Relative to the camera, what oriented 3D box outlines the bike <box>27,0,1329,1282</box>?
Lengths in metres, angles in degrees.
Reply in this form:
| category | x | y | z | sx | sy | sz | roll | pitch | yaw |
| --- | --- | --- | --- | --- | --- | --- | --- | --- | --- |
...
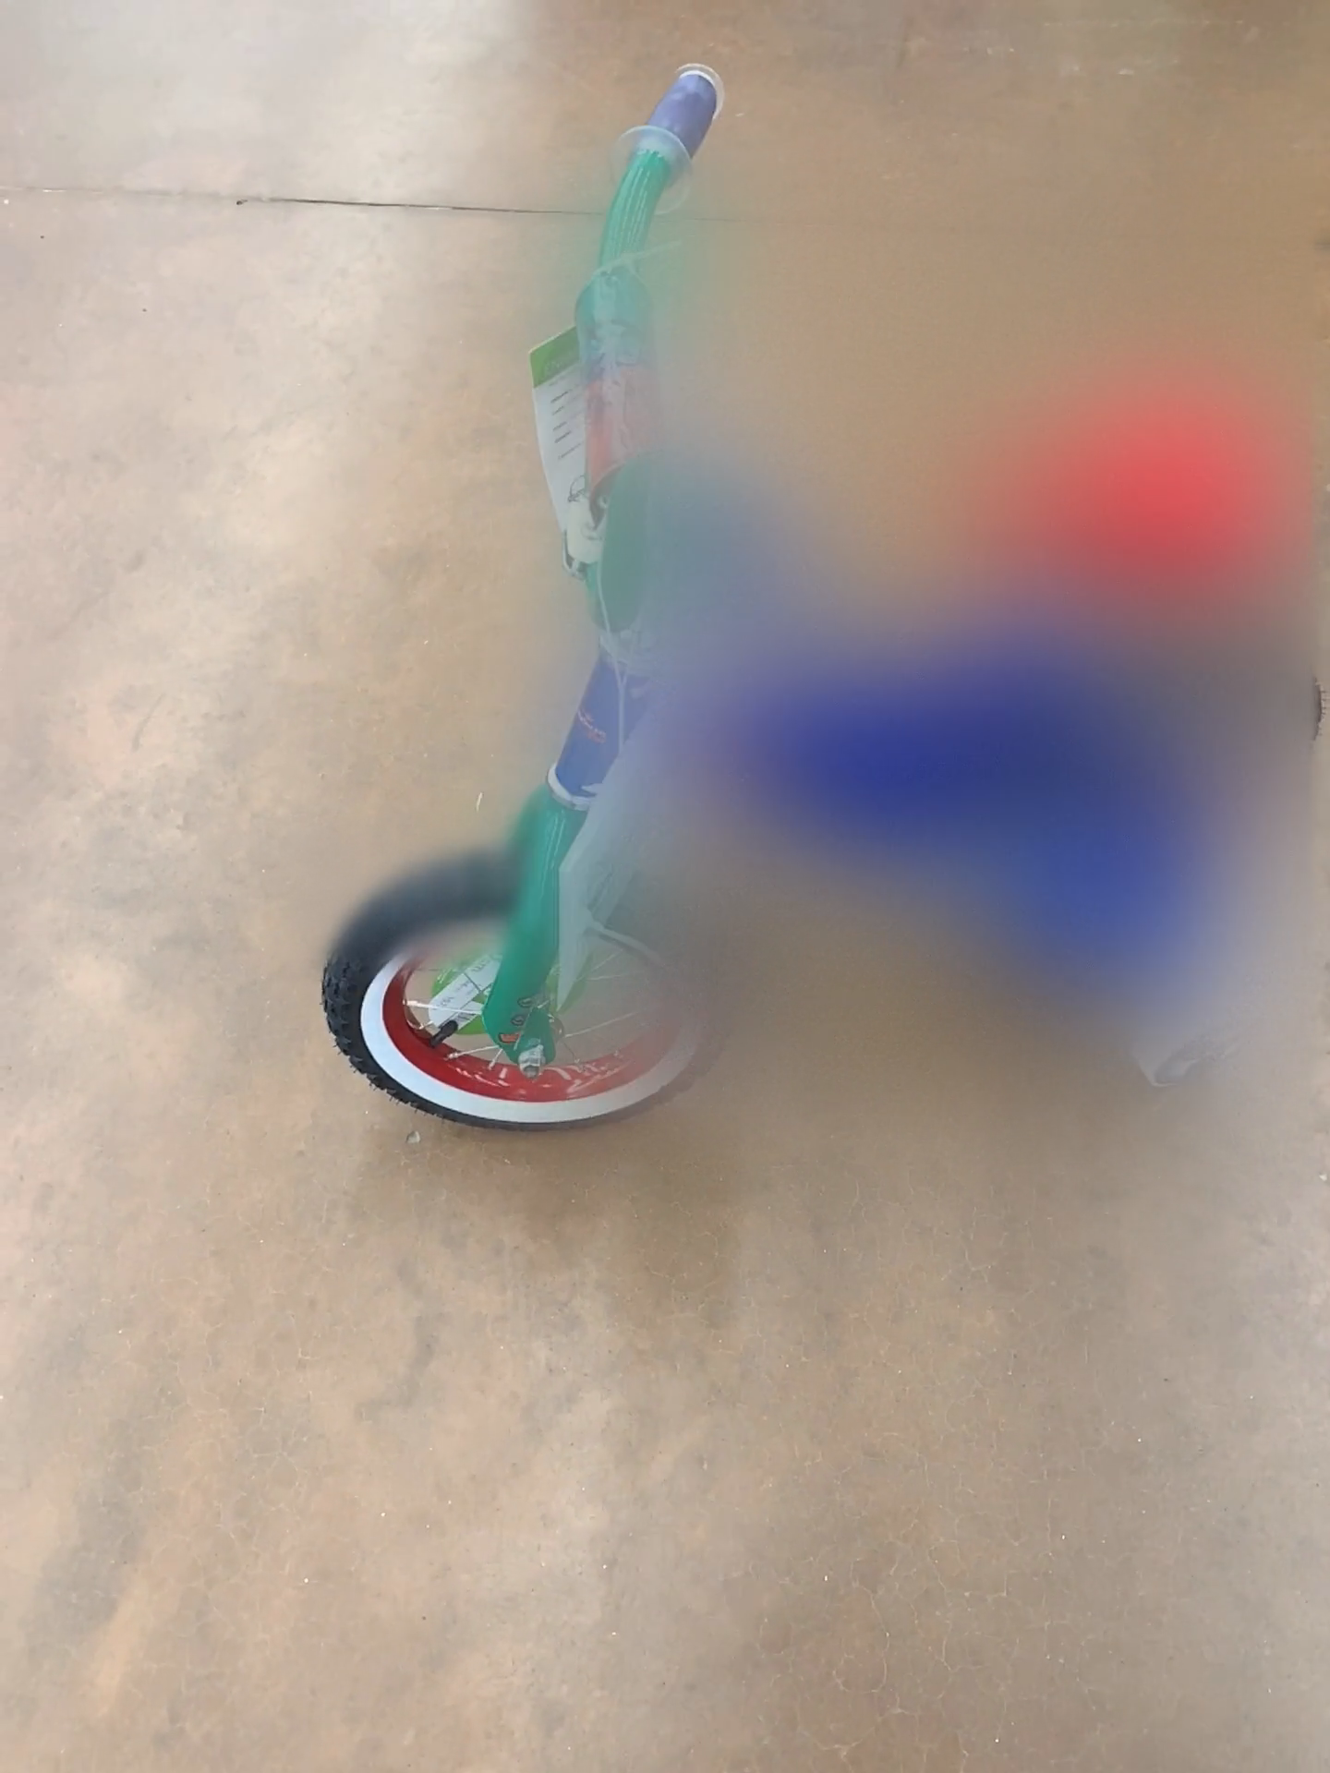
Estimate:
| category | x | y | z | sx | sy | sz | roll | pitch | yaw |
| --- | --- | --- | --- | --- | --- | --- | --- | --- | --- |
| bike | 0.136 | -0.163 | 0.922 | 0.794 | 0.695 | 0.466 | -15 | 58 | -9 |
